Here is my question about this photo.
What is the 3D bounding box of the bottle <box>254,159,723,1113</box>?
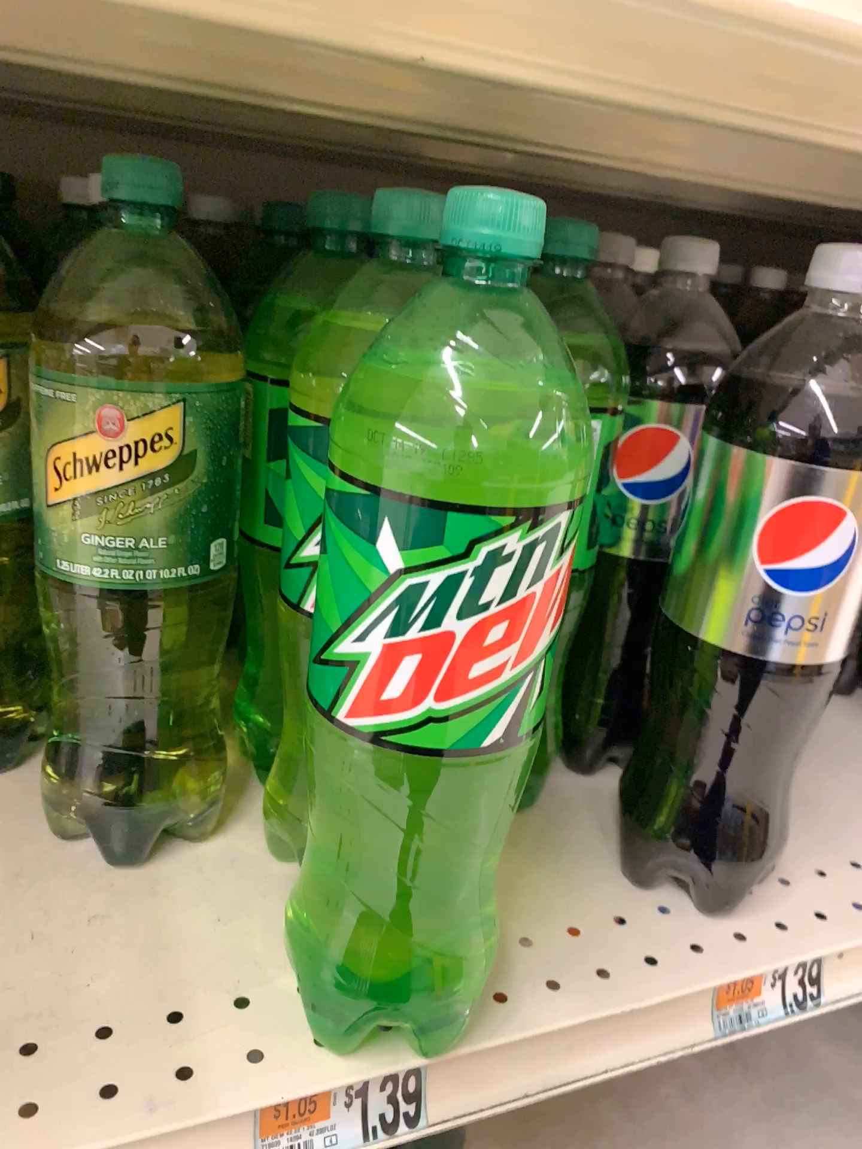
[{"bbox_3d":[0.001,0.028,0.314,0.100,0.302,0.090,-1,21,-20],"label":"bottle"}]
